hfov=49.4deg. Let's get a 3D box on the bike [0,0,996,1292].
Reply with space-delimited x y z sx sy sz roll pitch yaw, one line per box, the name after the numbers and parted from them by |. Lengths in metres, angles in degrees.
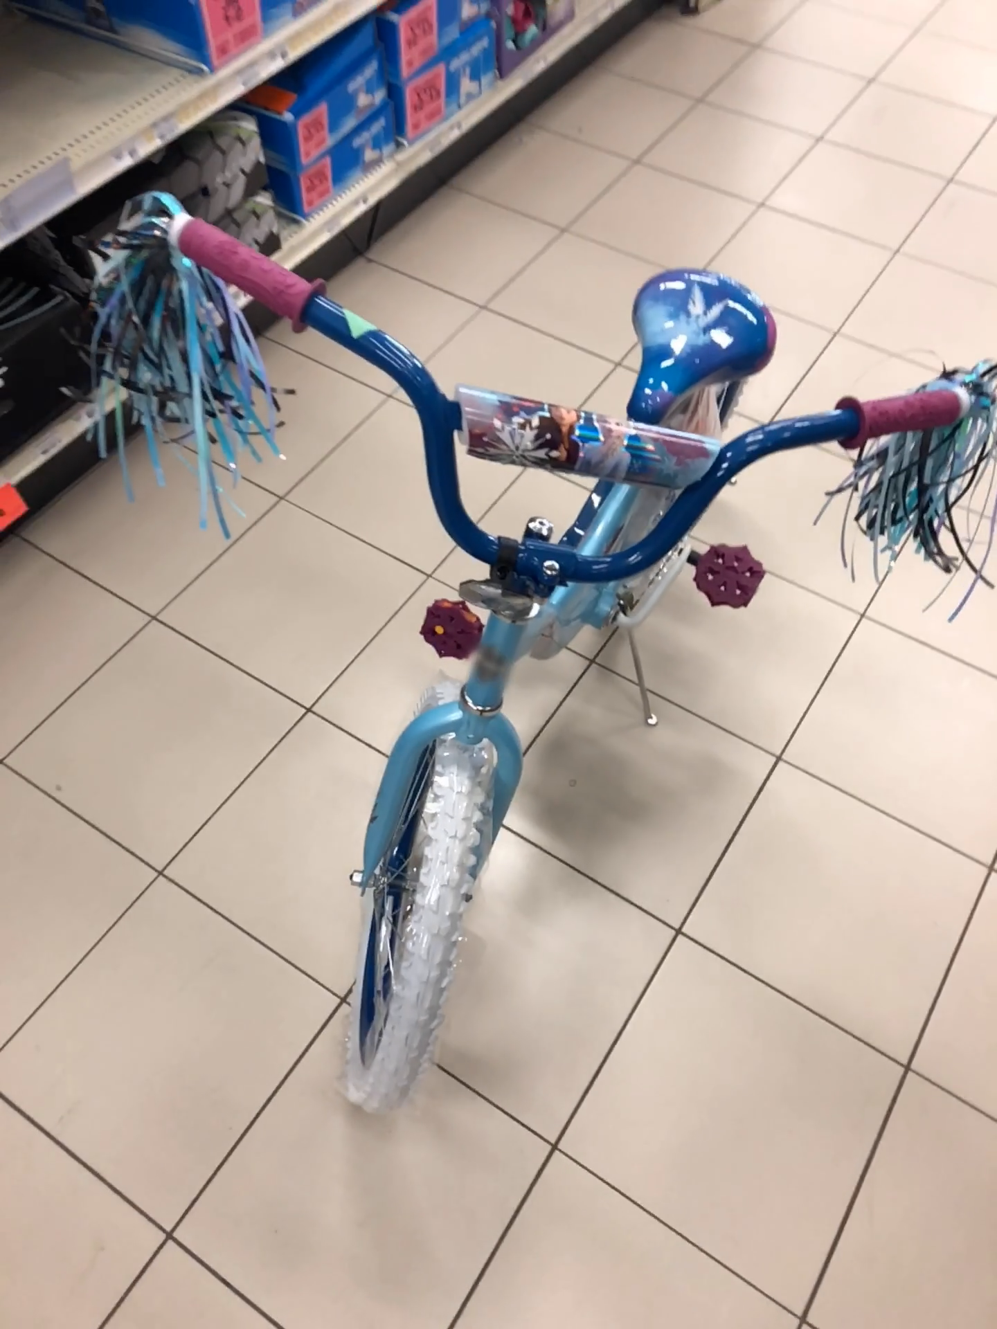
0.141 -0.146 1.148 0.641 0.954 1.178 20 54 13 | bike
